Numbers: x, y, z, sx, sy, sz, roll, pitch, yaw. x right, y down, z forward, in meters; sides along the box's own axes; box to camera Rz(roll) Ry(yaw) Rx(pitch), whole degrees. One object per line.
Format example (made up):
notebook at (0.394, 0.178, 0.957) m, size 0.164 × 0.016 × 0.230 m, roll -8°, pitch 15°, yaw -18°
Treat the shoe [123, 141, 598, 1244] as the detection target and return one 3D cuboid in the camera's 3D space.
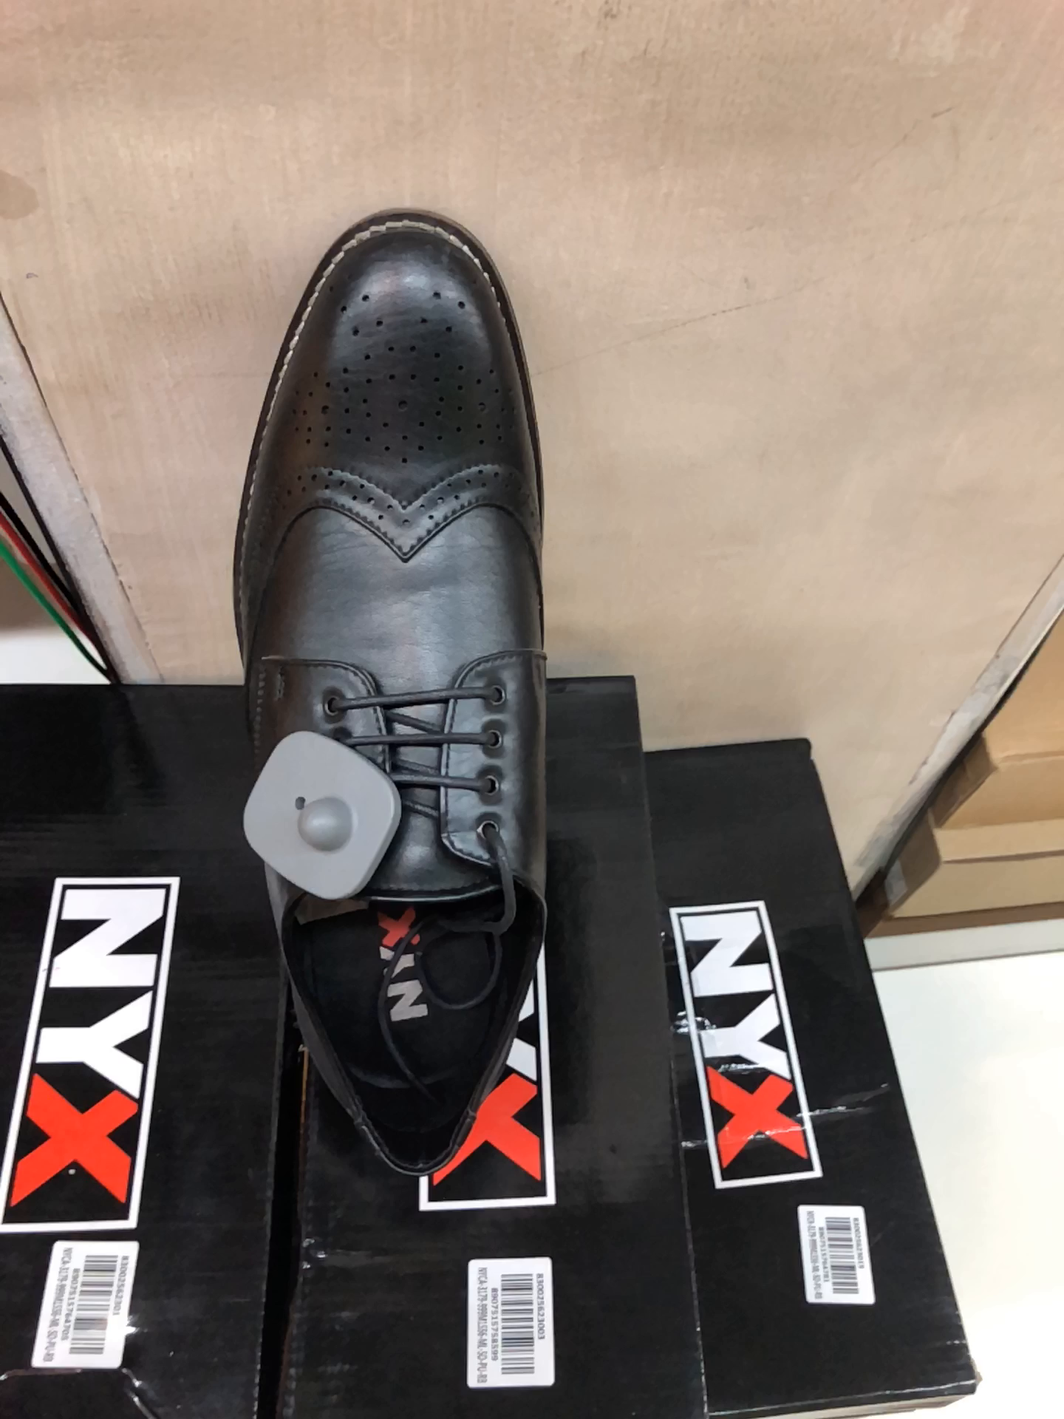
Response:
shoe at (-0.045, -0.001, 0.360) m, size 0.106 × 0.296 × 0.107 m, roll -1°, pitch 17°, yaw -6°
